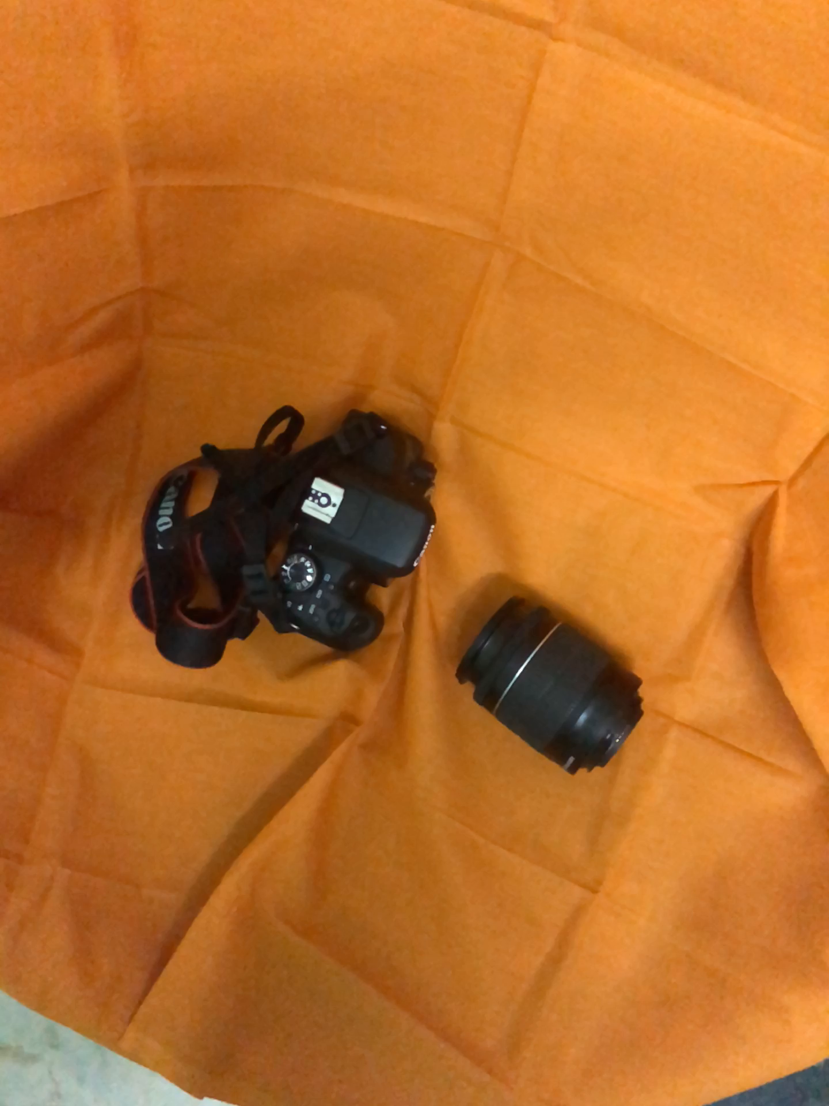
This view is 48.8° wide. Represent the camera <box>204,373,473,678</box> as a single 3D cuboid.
[{"bbox_3d":[-0.038,-0.014,0.512,0.092,0.072,0.133,25,90,6],"label":"camera"}]
